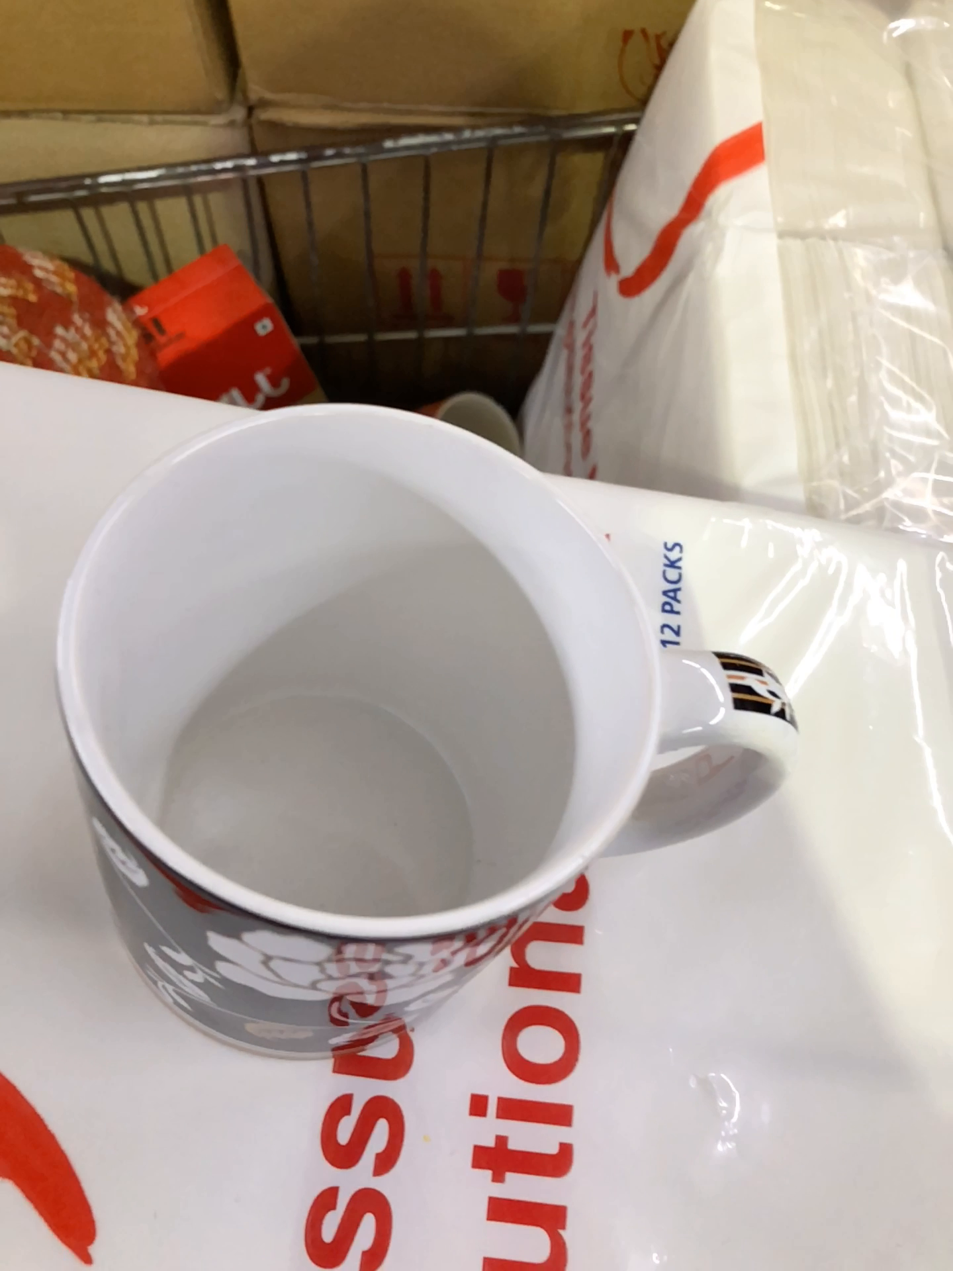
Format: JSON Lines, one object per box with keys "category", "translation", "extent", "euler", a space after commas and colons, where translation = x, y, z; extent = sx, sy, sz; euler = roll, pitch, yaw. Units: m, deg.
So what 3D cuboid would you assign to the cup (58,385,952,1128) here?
{"category": "cup", "translation": [0.004, 0.024, 0.178], "extent": [0.130, 0.100, 0.080], "euler": [-3, 64, -17]}
